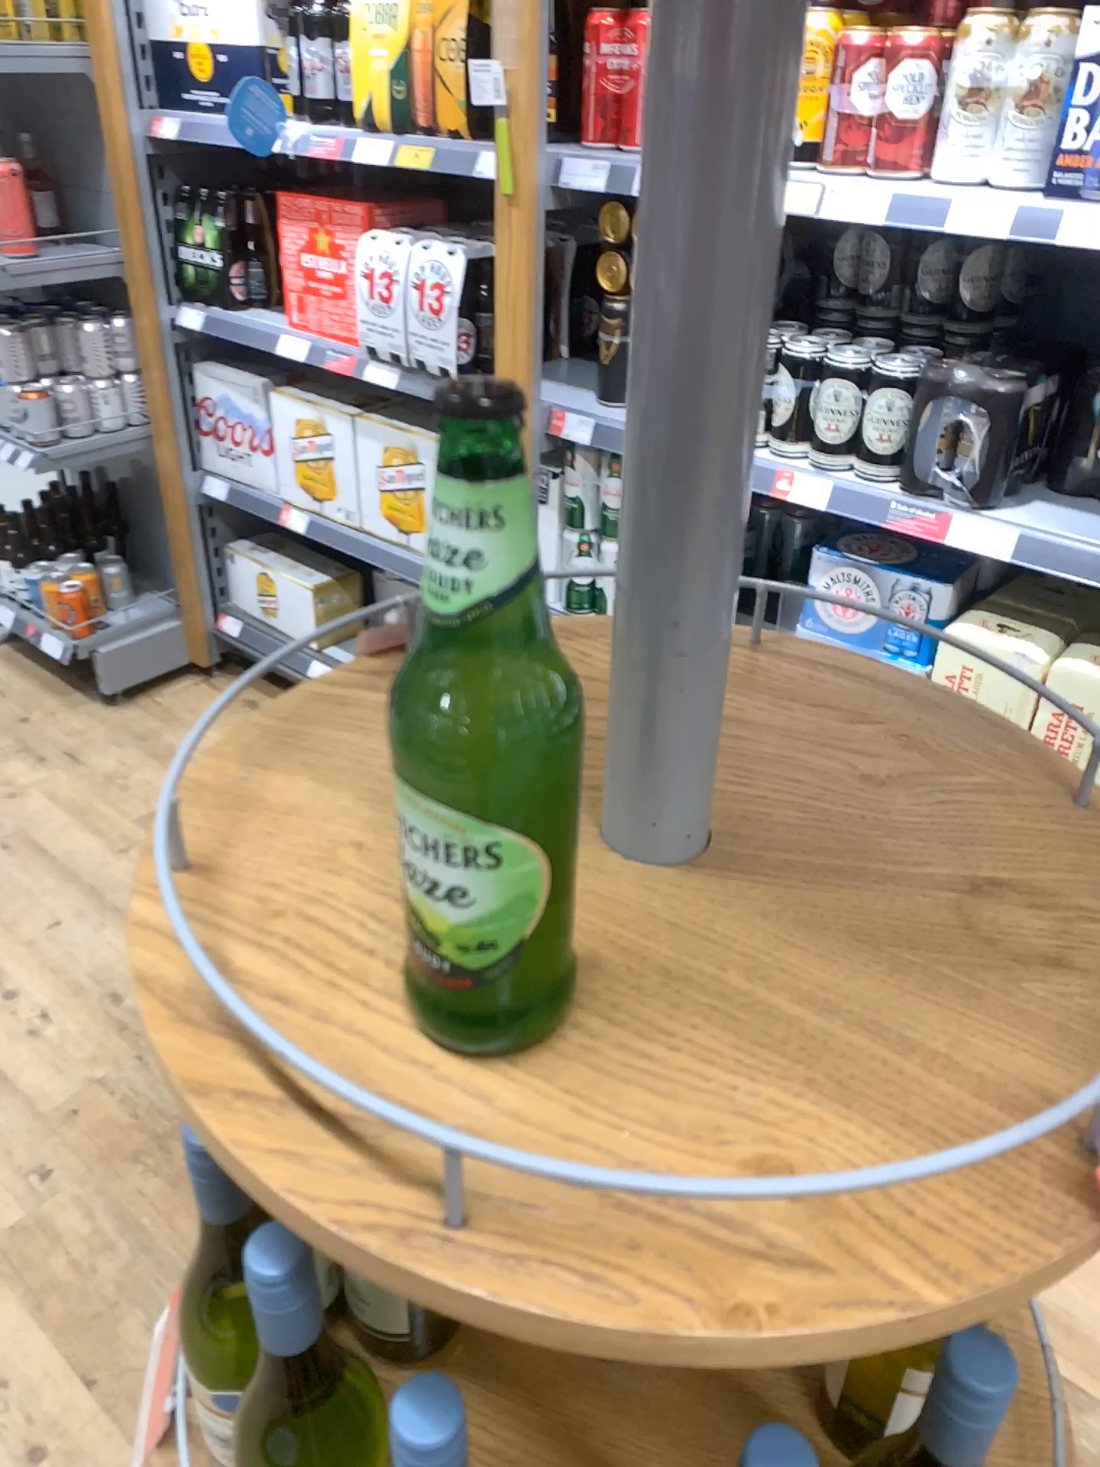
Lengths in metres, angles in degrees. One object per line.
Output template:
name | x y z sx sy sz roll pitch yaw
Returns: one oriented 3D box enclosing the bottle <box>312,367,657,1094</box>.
bottle | -0.023 0.005 0.396 0.078 0.240 0.070 -22 38 -33
